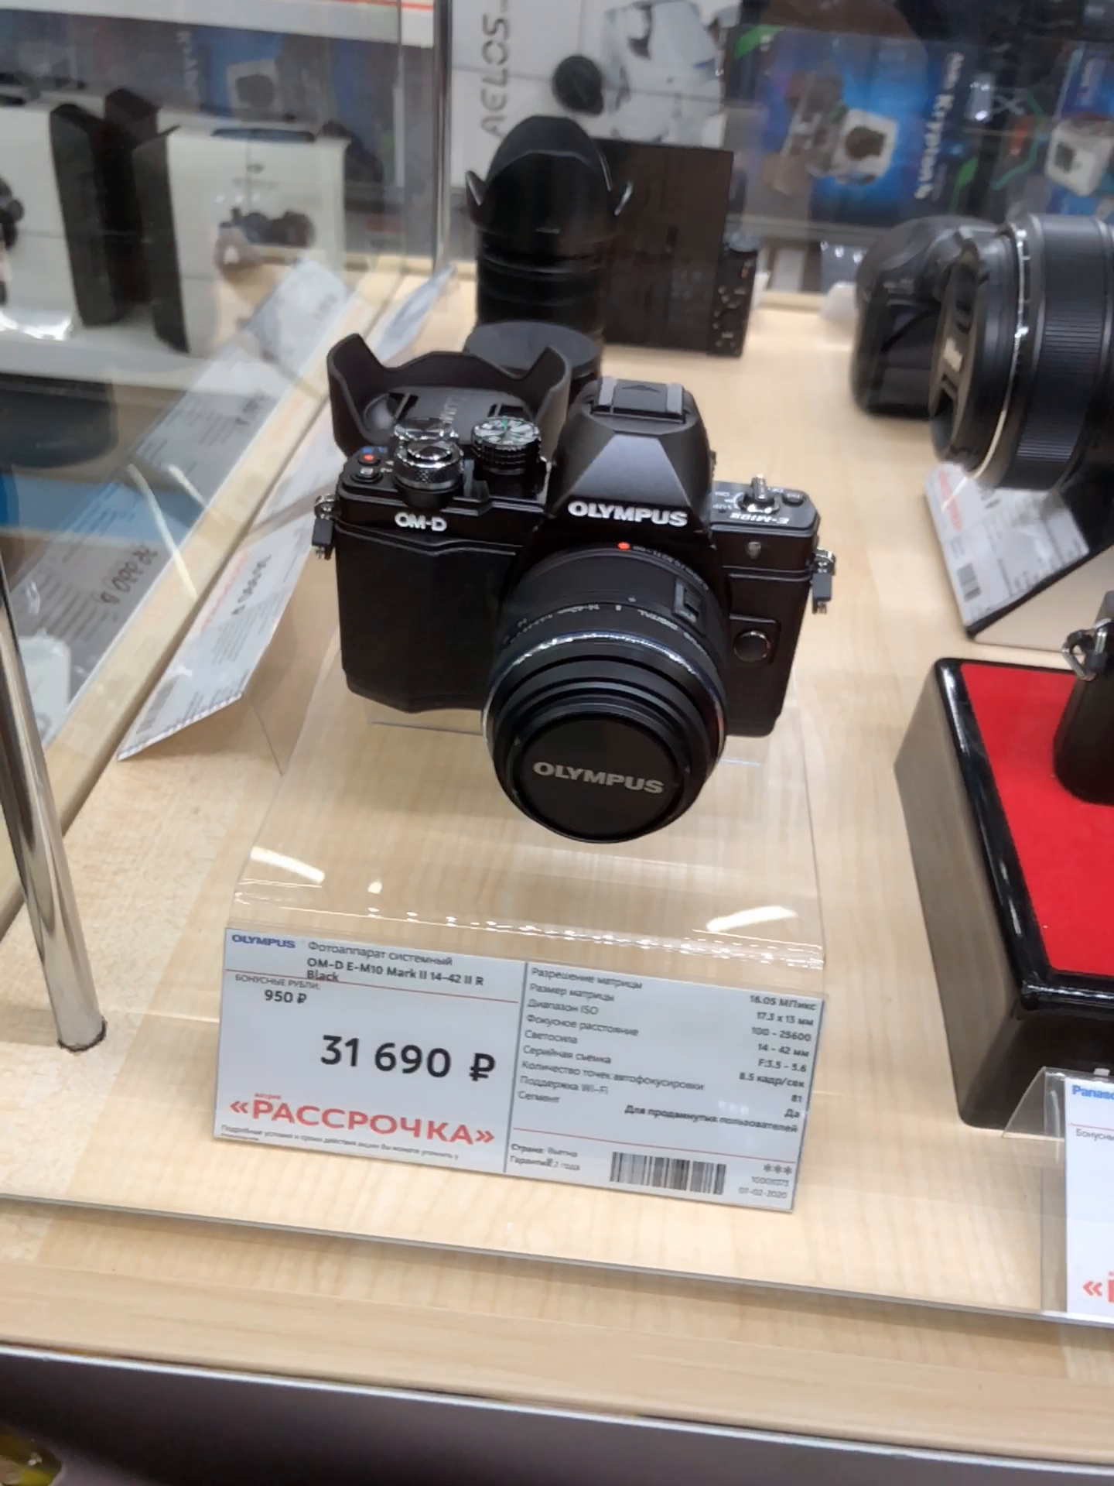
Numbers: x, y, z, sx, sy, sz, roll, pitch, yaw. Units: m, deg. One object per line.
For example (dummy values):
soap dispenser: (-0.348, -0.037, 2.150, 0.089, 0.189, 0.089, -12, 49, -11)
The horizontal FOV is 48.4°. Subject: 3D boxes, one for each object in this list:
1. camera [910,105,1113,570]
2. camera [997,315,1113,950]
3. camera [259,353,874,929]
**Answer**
camera: (0.234, -0.148, 0.440, 0.185, 0.109, 0.104, 9, 37, 7)
camera: (0.181, -0.025, 0.280, 0.118, 0.109, 0.073, 6, 36, 2)
camera: (0.003, -0.029, 0.302, 0.118, 0.088, 0.101, 6, 37, 2)
